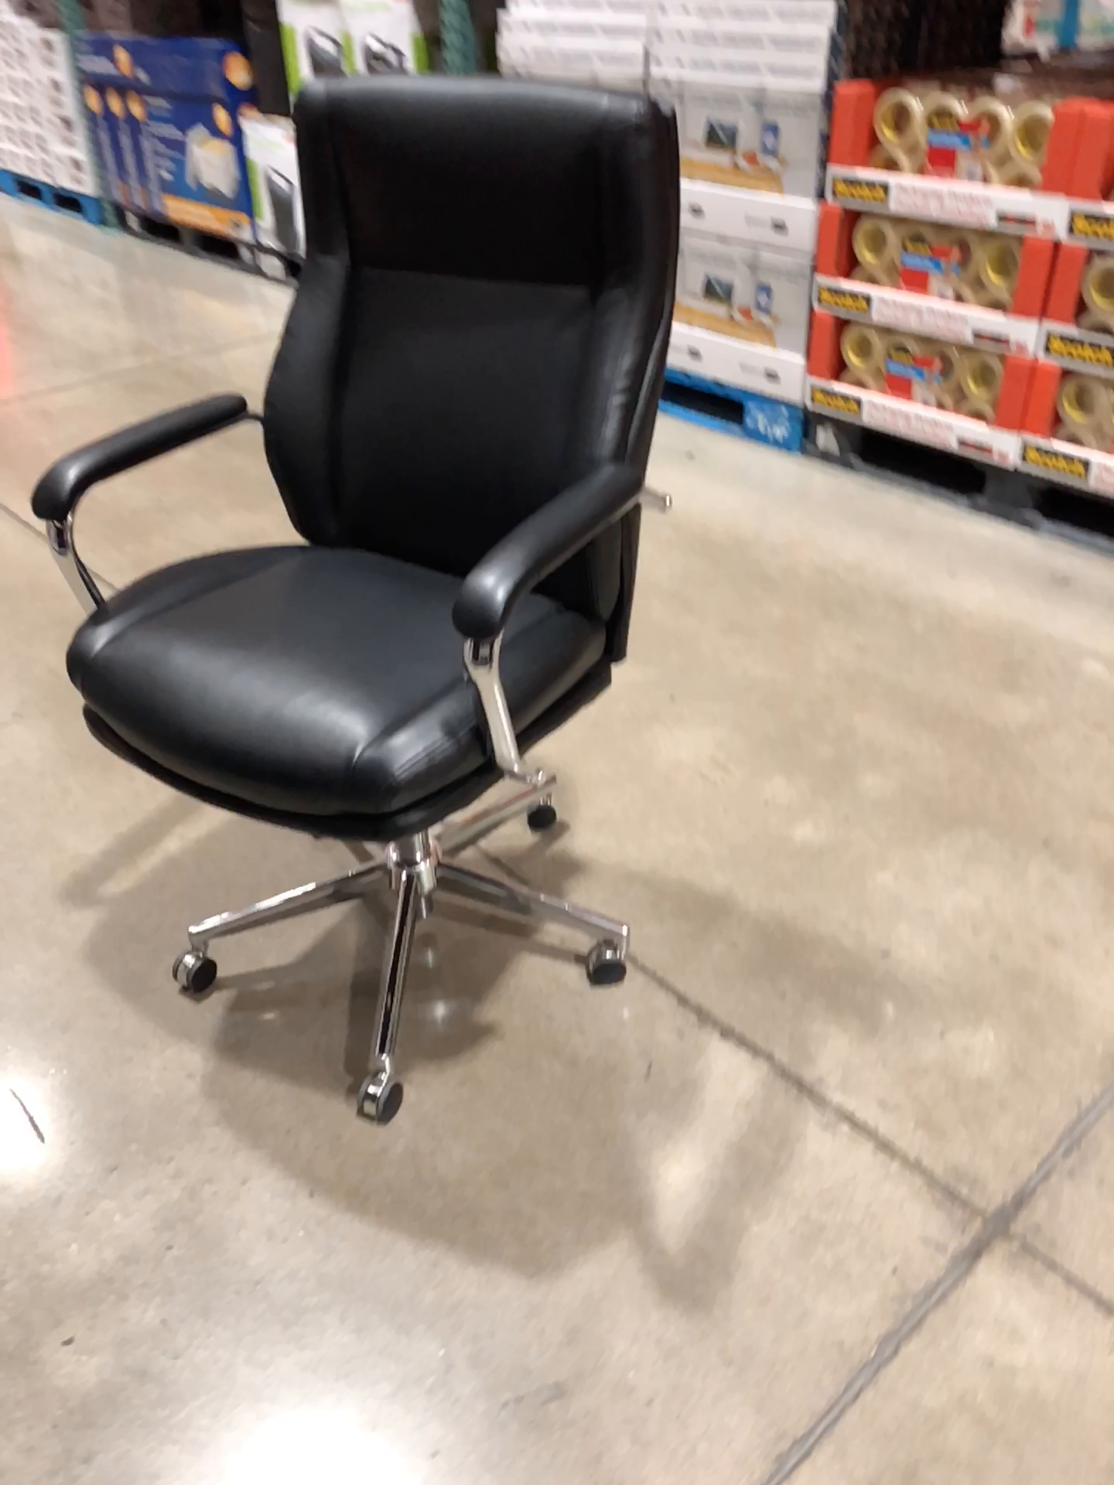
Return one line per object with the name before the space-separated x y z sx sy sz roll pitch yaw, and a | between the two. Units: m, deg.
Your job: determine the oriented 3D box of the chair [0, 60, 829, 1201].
chair | -0.194 -0.191 1.490 0.711 1.045 0.702 19 39 28
